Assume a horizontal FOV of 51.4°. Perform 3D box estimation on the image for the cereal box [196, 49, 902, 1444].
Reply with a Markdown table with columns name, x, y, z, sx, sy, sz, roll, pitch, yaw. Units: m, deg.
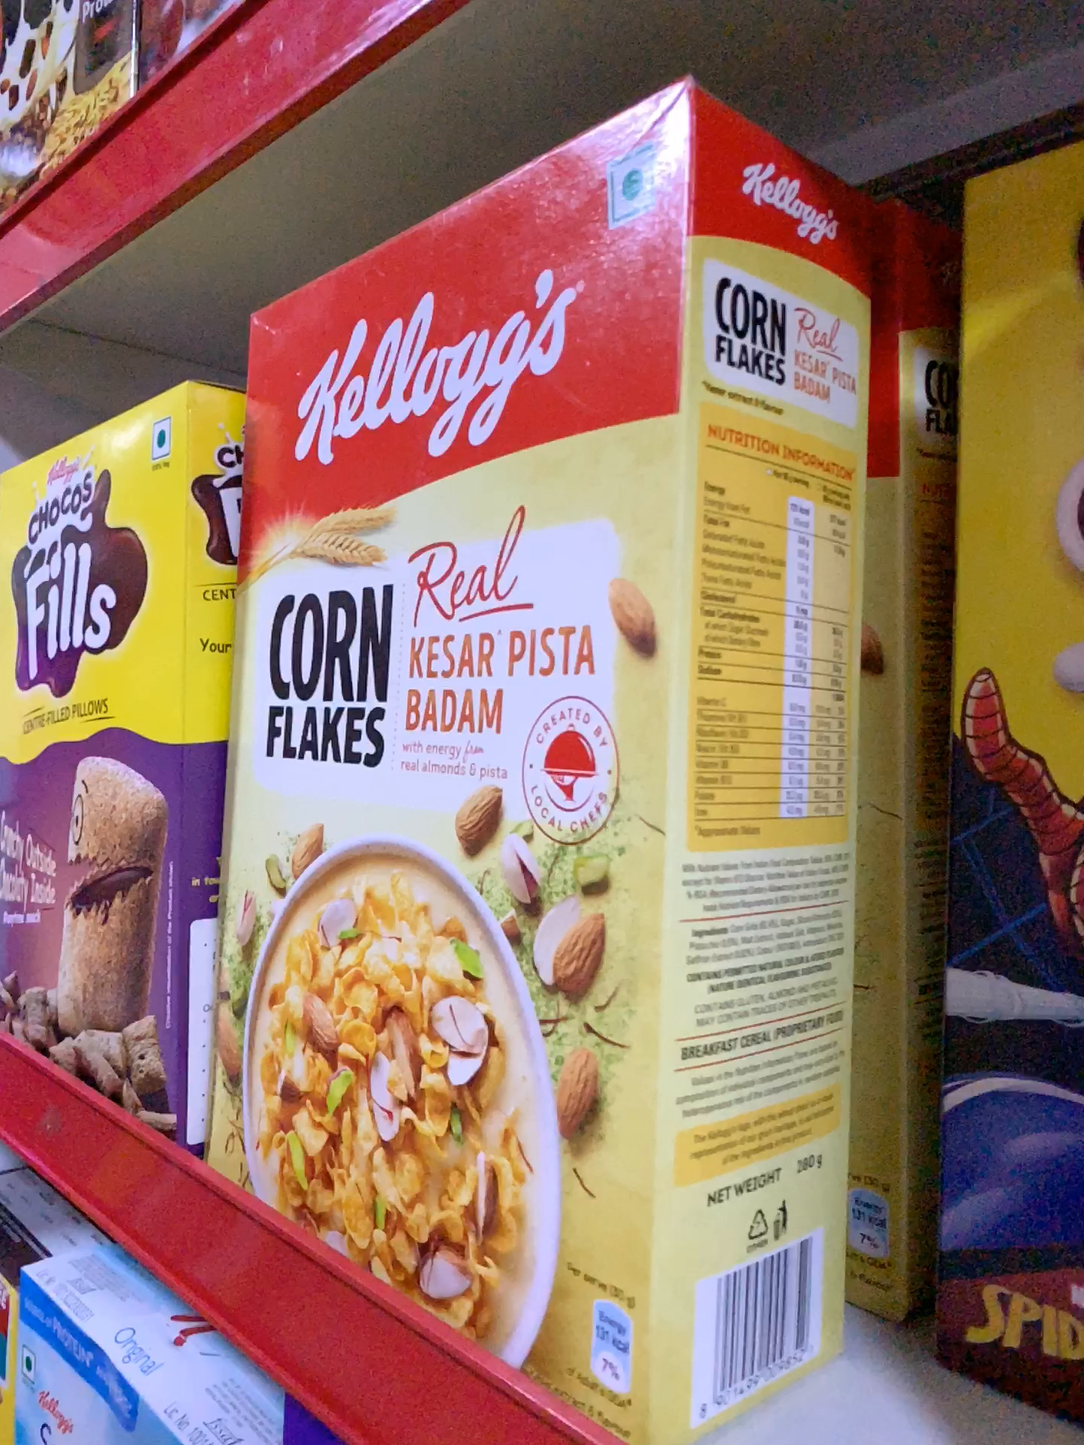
| name | x | y | z | sx | sy | sz | roll | pitch | yaw |
| --- | --- | --- | --- | --- | --- | --- | --- | --- | --- |
| cereal box | -0.012 | 0.008 | 0.283 | 0.070 | 0.250 | 0.180 | 2 | -1 | -41 |
